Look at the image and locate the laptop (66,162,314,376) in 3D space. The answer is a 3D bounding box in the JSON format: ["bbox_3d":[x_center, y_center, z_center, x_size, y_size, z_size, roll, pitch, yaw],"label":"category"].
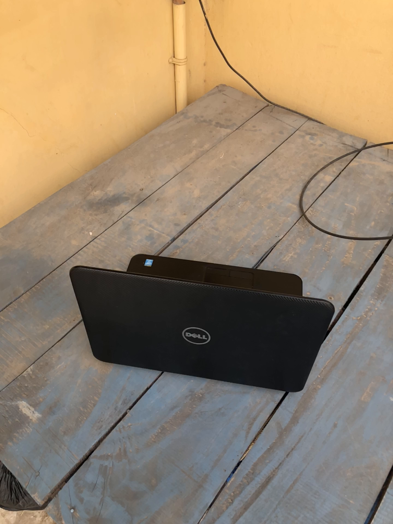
[{"bbox_3d":[0.008,0.013,0.746,0.340,0.234,0.226,7,50,7],"label":"laptop"}]
